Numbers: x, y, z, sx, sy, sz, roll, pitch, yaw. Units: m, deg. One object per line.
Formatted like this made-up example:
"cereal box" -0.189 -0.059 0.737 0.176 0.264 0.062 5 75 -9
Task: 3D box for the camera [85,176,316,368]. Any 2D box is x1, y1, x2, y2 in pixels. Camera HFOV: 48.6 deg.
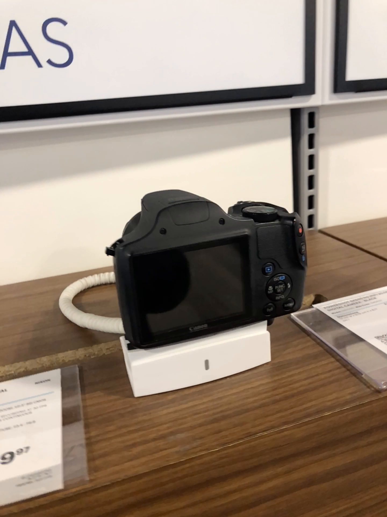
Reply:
"camera" 0.001 -0.003 0.289 0.120 0.080 0.102 -12 20 -19
